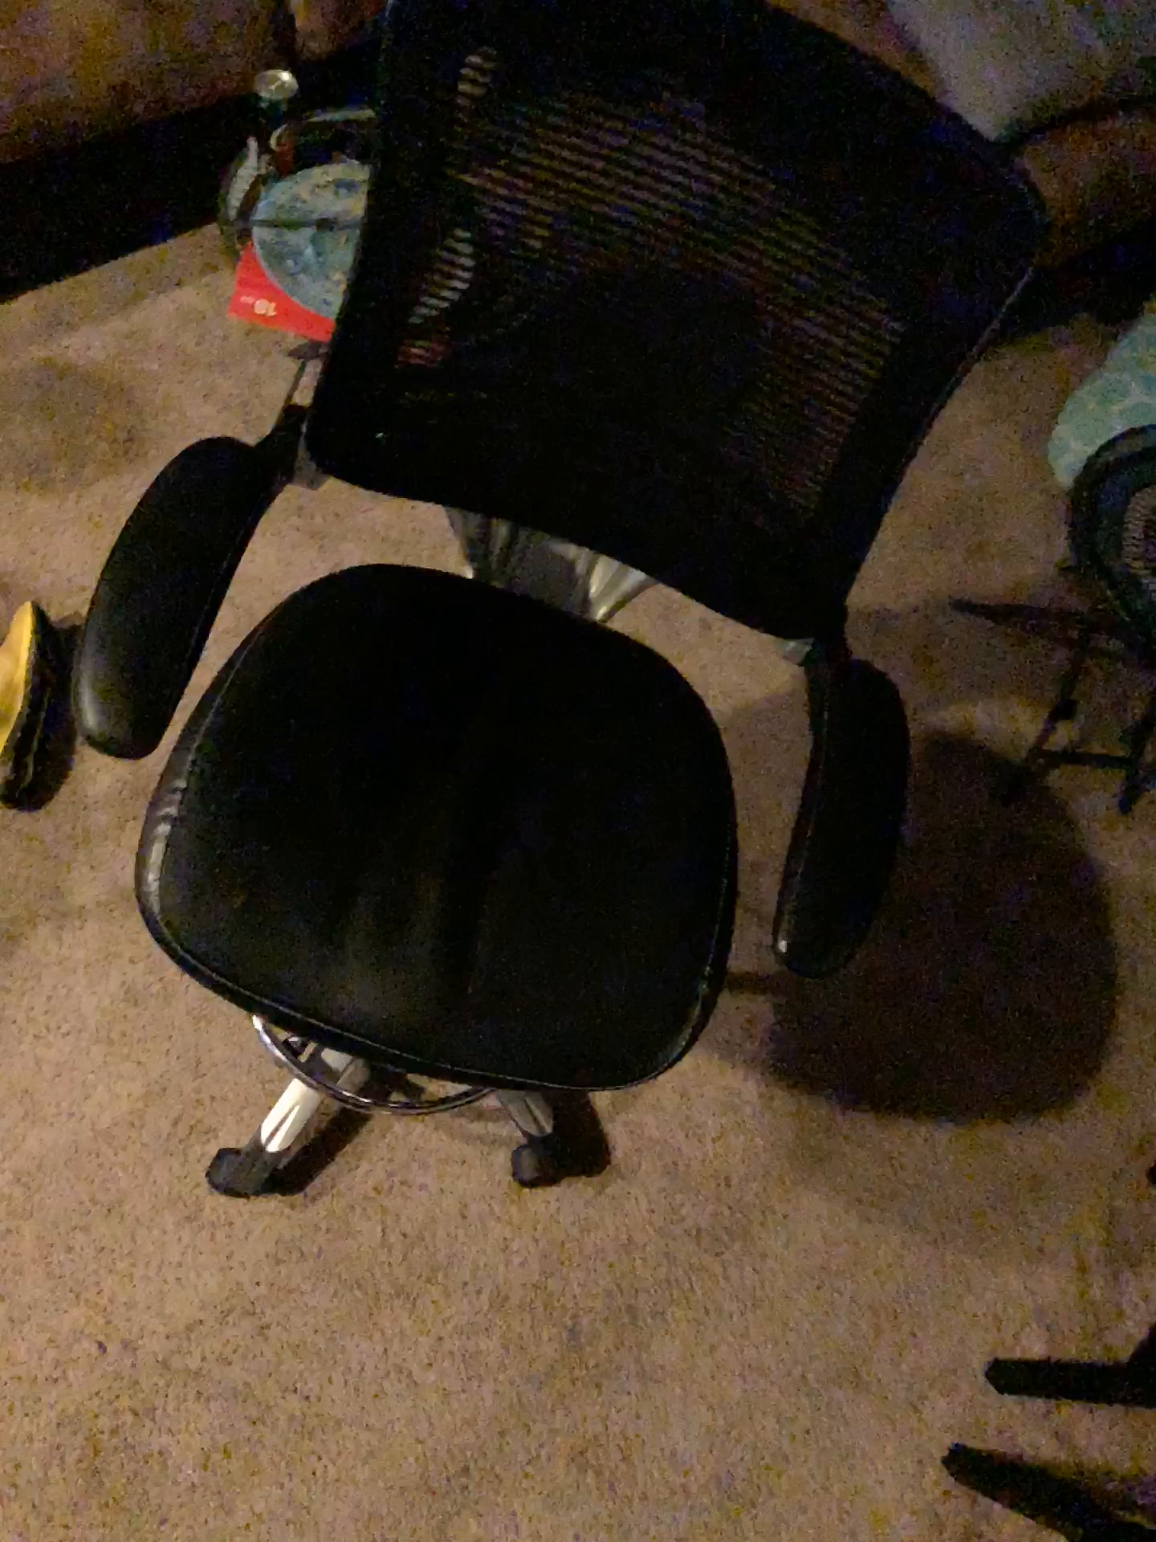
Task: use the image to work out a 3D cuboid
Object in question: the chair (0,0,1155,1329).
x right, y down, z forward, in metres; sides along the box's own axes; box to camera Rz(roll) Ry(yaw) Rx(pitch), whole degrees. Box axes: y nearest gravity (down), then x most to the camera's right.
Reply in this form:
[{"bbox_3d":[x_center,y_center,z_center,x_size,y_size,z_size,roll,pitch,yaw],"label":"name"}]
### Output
[{"bbox_3d":[-0.079,-0.058,1.264,0.760,1.170,0.930,19,63,-5],"label":"chair"}]
